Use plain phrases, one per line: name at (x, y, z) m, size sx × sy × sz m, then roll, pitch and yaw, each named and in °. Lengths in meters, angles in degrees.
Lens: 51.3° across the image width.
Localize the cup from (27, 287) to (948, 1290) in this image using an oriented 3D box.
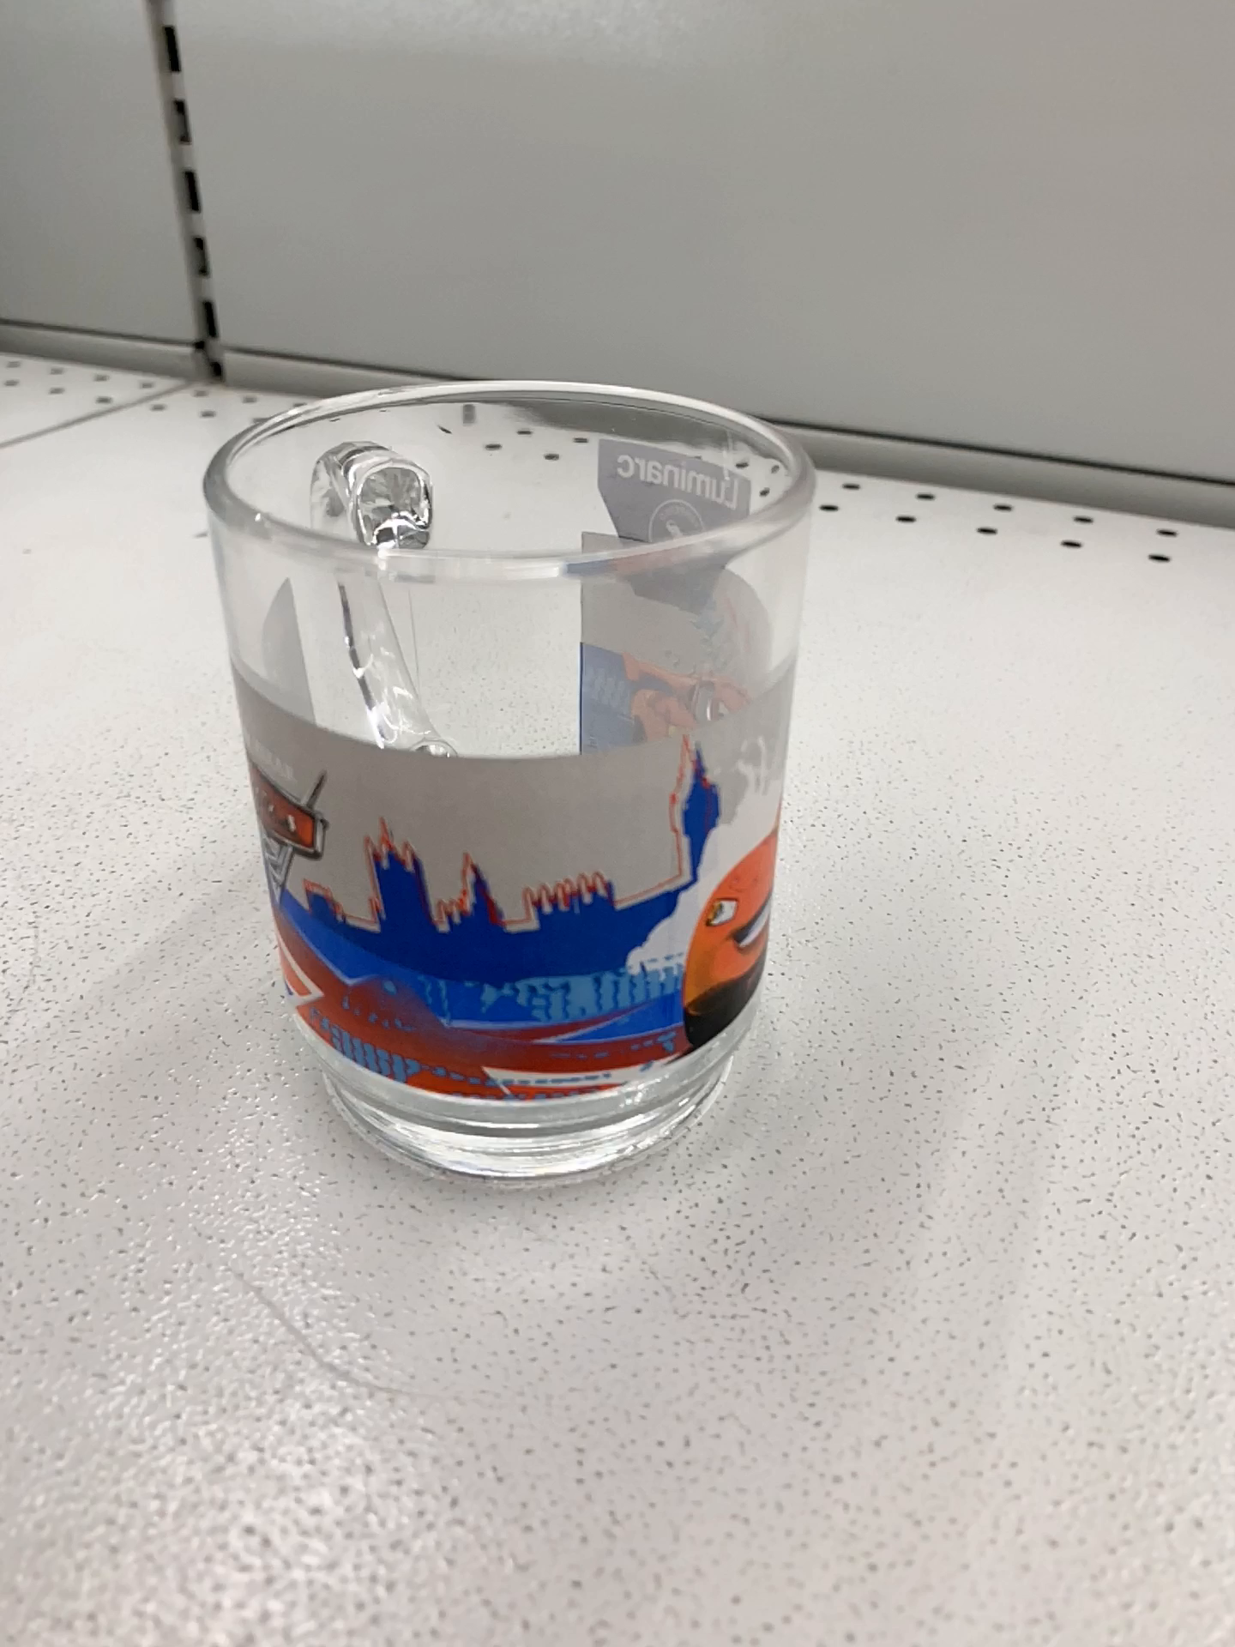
cup at (-0.024, -0.018, 0.181) m, size 0.071 × 0.087 × 0.108 m, roll -18°, pitch 36°, yaw -27°
